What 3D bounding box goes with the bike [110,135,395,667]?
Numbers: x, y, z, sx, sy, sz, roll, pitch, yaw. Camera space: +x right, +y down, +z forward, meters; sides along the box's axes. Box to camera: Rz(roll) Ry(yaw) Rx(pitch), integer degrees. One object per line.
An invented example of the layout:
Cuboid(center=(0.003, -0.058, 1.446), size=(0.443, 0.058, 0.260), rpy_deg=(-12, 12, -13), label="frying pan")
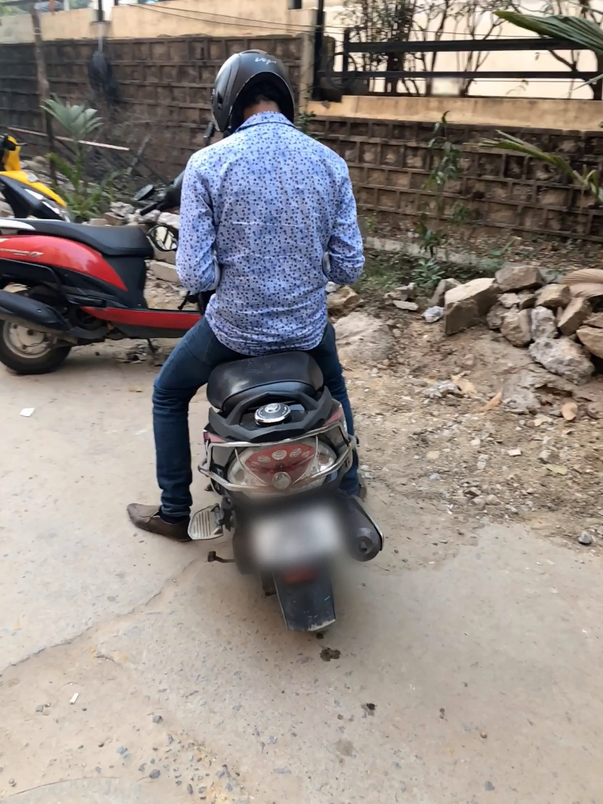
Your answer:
Cuboid(center=(-0.293, -0.180, 2.188), size=(0.559, 1.054, 1.482), rpy_deg=(-3, 28, -15), label="bike")
